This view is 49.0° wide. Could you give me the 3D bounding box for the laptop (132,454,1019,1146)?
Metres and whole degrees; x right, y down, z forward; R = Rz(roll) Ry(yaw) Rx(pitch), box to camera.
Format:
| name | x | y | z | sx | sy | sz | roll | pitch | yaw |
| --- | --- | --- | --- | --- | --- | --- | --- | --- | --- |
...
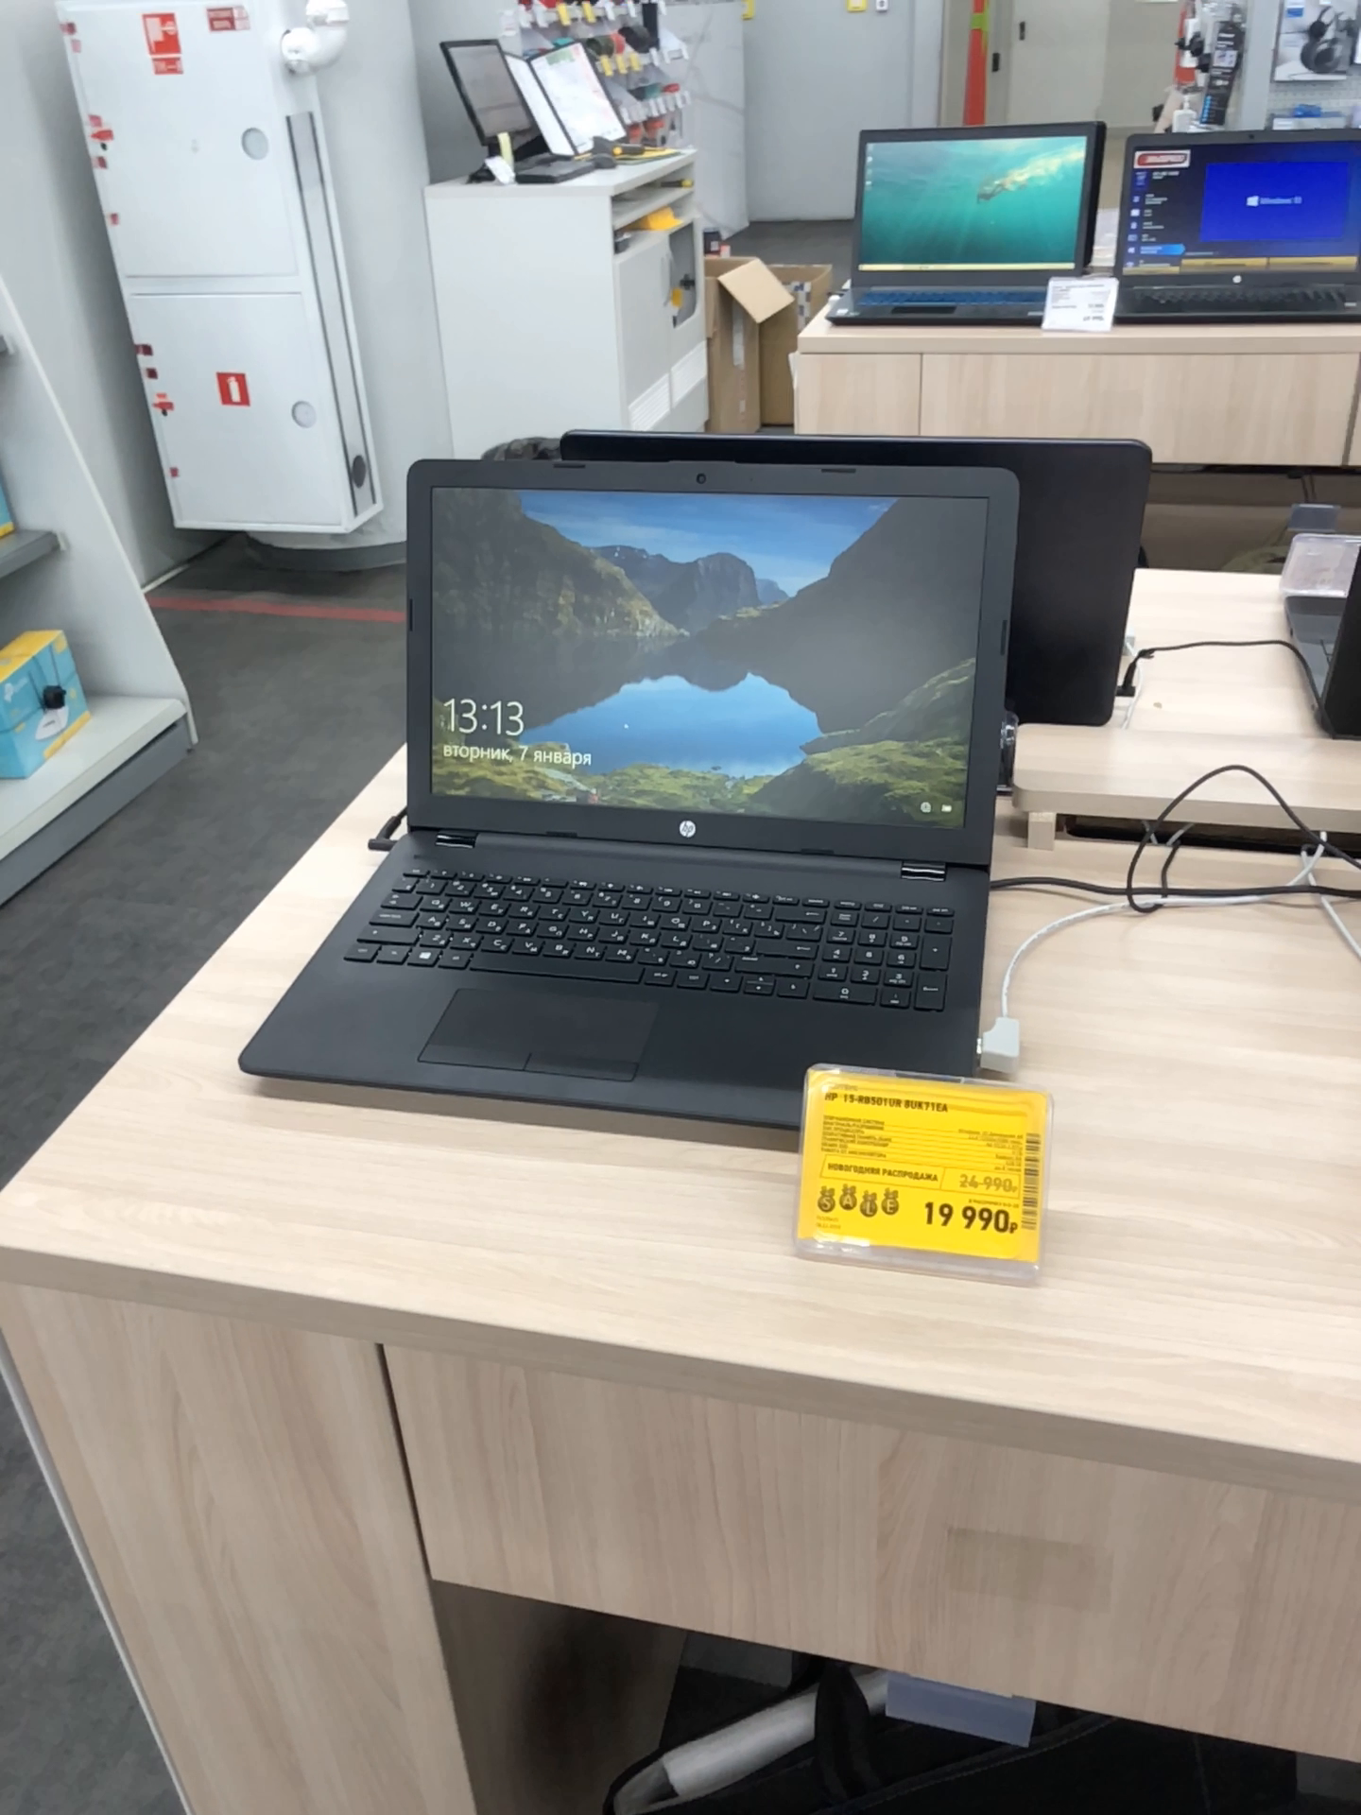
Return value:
| name | x | y | z | sx | sy | sz | roll | pitch | yaw |
| --- | --- | --- | --- | --- | --- | --- | --- | --- | --- |
| laptop | -0.019 | -0.089 | 0.822 | 0.376 | 0.217 | 0.343 | 5 | 32 | 13 |
